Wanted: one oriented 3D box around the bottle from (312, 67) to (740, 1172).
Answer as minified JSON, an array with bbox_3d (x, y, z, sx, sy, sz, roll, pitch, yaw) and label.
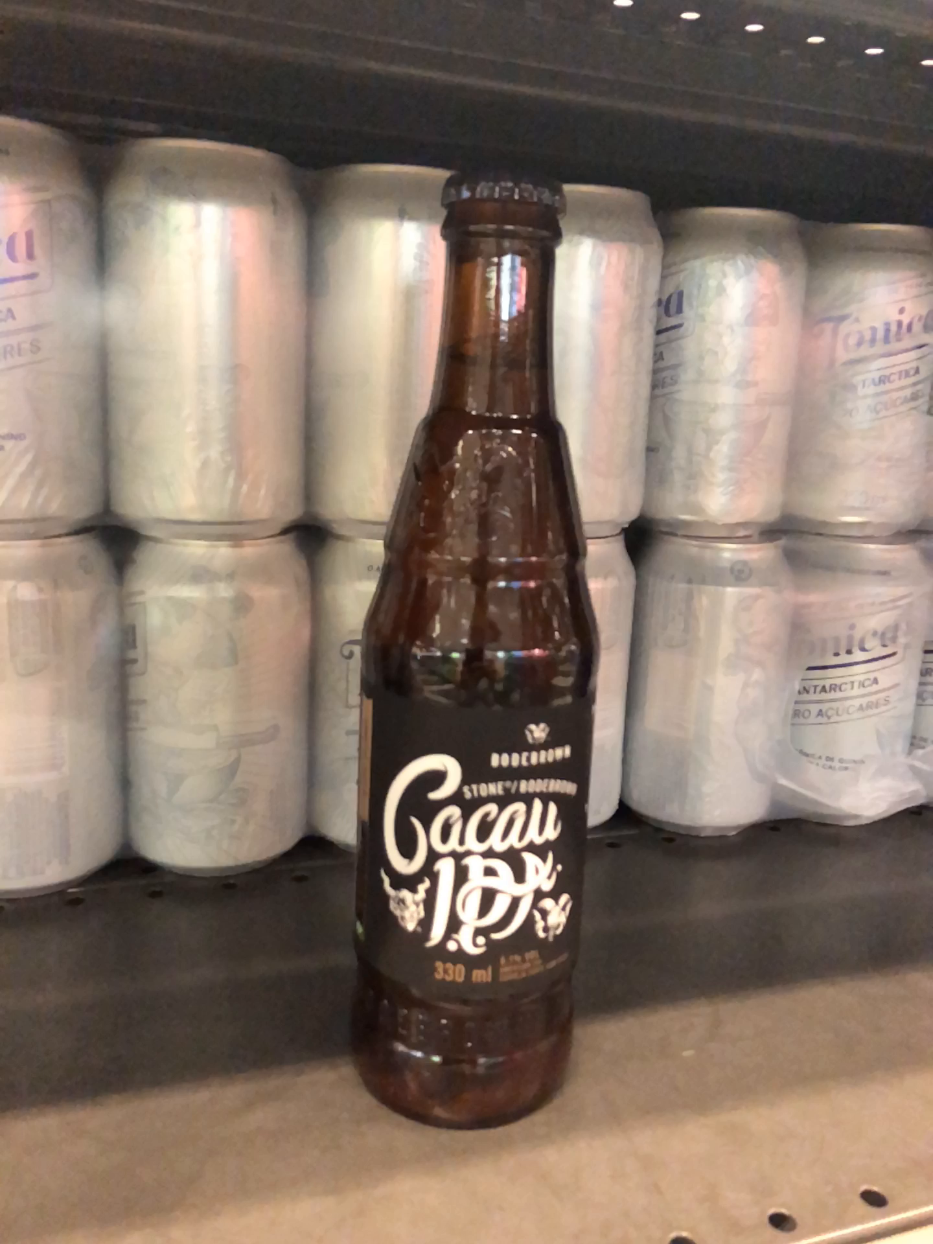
[{"bbox_3d":[0.003,0.007,0.265,0.080,0.249,0.070,1,14,-9],"label":"bottle"}]
